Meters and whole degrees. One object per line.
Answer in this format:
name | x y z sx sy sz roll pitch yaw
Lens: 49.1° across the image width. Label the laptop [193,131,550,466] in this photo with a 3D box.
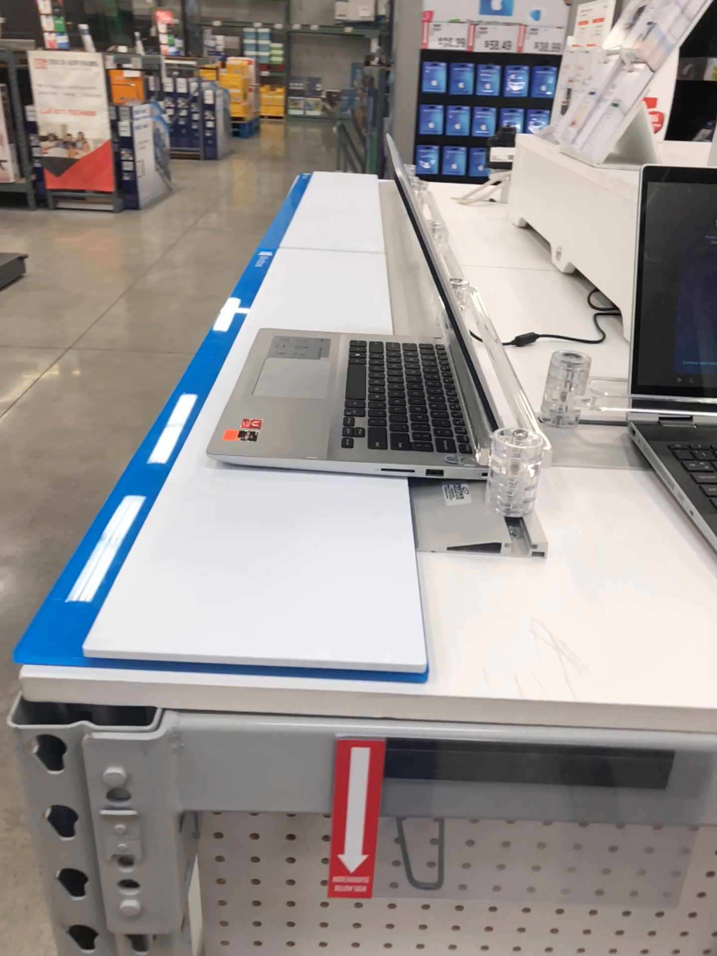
laptop | 0.007 -0.175 0.675 0.222 0.199 0.320 3 27 0
